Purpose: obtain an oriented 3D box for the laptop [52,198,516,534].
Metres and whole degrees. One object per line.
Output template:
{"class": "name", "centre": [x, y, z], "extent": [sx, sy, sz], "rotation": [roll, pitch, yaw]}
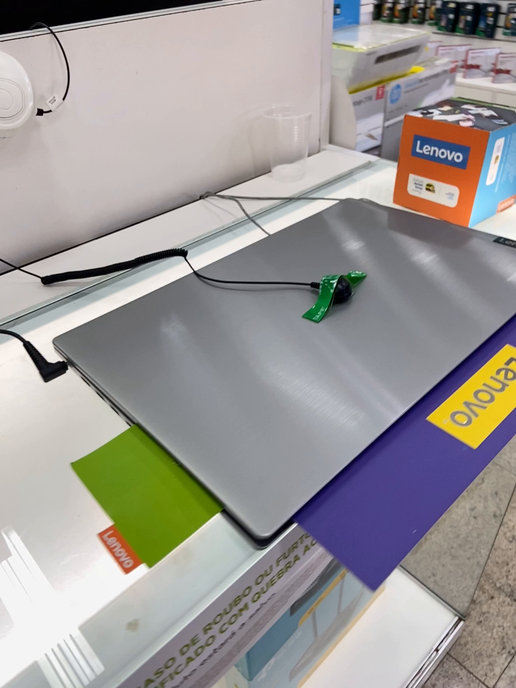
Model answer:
{"class": "laptop", "centre": [0.053, -0.034, 0.440], "extent": [0.363, 0.001, 0.240], "rotation": [-32, 46, -31]}
